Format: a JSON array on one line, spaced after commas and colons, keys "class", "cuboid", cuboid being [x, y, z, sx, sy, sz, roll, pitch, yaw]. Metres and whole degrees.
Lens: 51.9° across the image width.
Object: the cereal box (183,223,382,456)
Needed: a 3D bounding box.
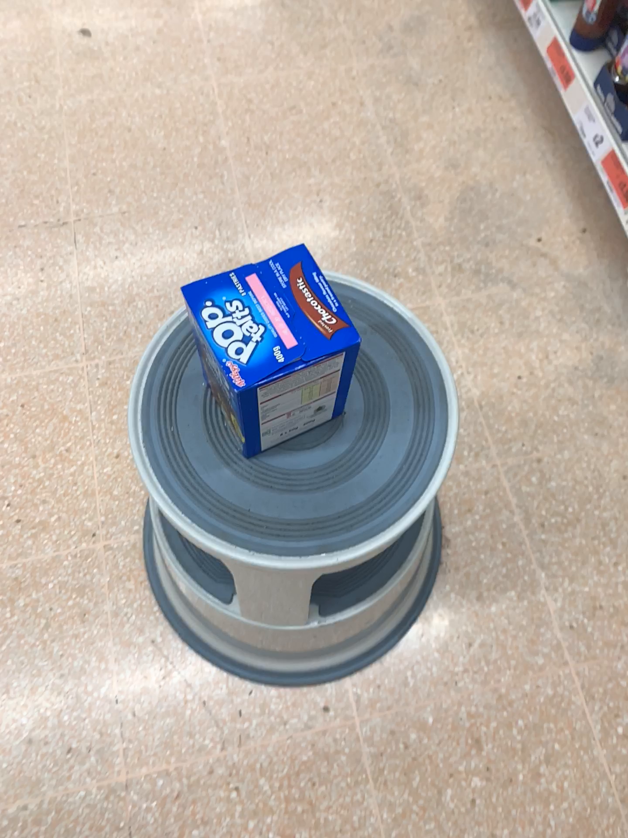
[{"class": "cereal box", "cuboid": [-0.024, -0.058, 0.526, 0.110, 0.139, 0.100, -25, 70, -10]}]
